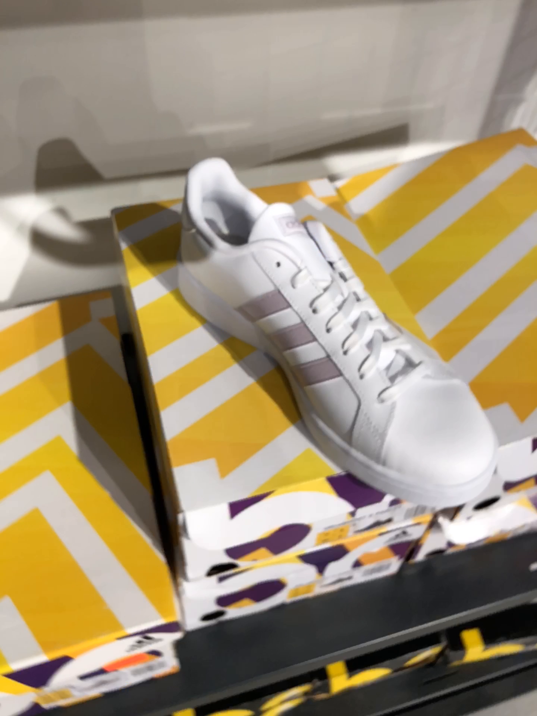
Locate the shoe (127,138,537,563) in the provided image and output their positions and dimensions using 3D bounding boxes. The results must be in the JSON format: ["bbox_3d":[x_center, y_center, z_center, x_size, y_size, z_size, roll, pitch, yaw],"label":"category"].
[{"bbox_3d":[0.037,-0.026,0.402,0.110,0.090,0.291,-32,58,-27],"label":"shoe"}]
